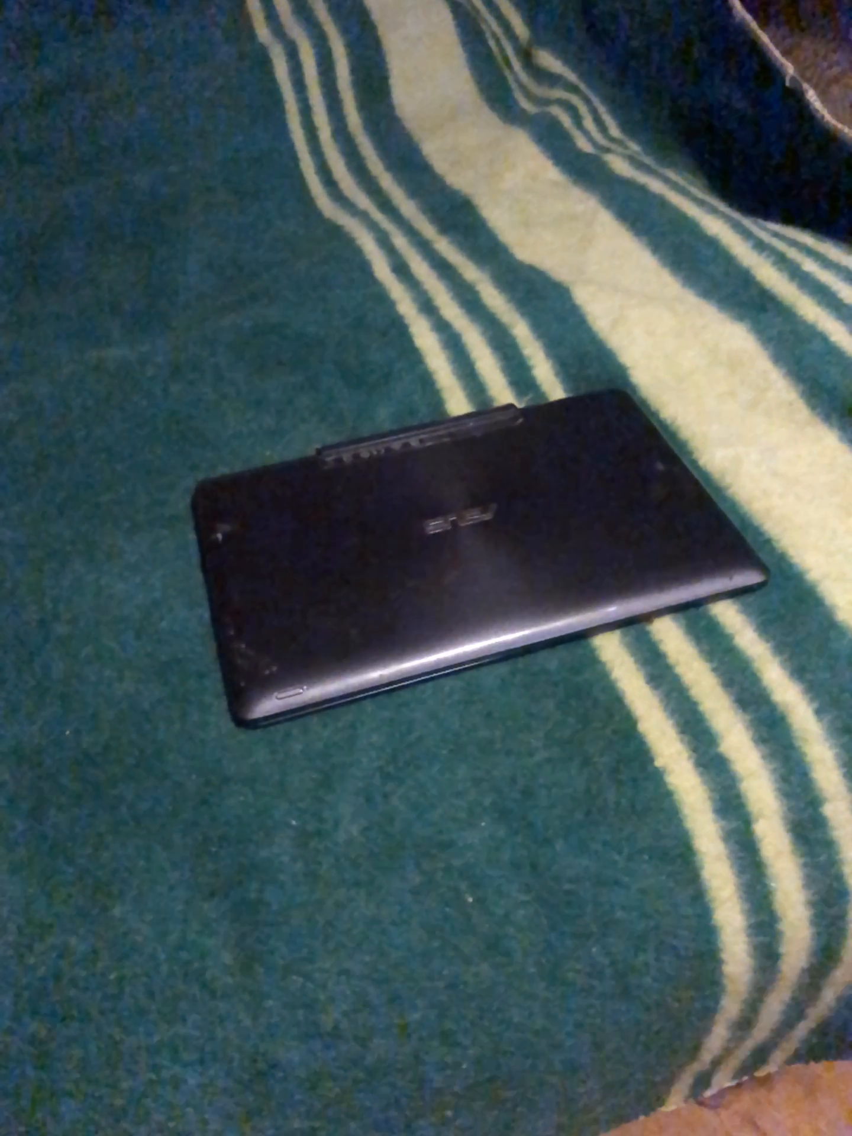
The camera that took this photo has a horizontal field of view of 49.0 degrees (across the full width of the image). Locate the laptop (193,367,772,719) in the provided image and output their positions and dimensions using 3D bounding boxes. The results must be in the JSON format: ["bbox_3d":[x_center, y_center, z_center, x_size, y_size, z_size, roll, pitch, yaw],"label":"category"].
[{"bbox_3d":[0.019,-0.027,0.490,0.262,0.017,0.167,-14,46,-10],"label":"laptop"}]
